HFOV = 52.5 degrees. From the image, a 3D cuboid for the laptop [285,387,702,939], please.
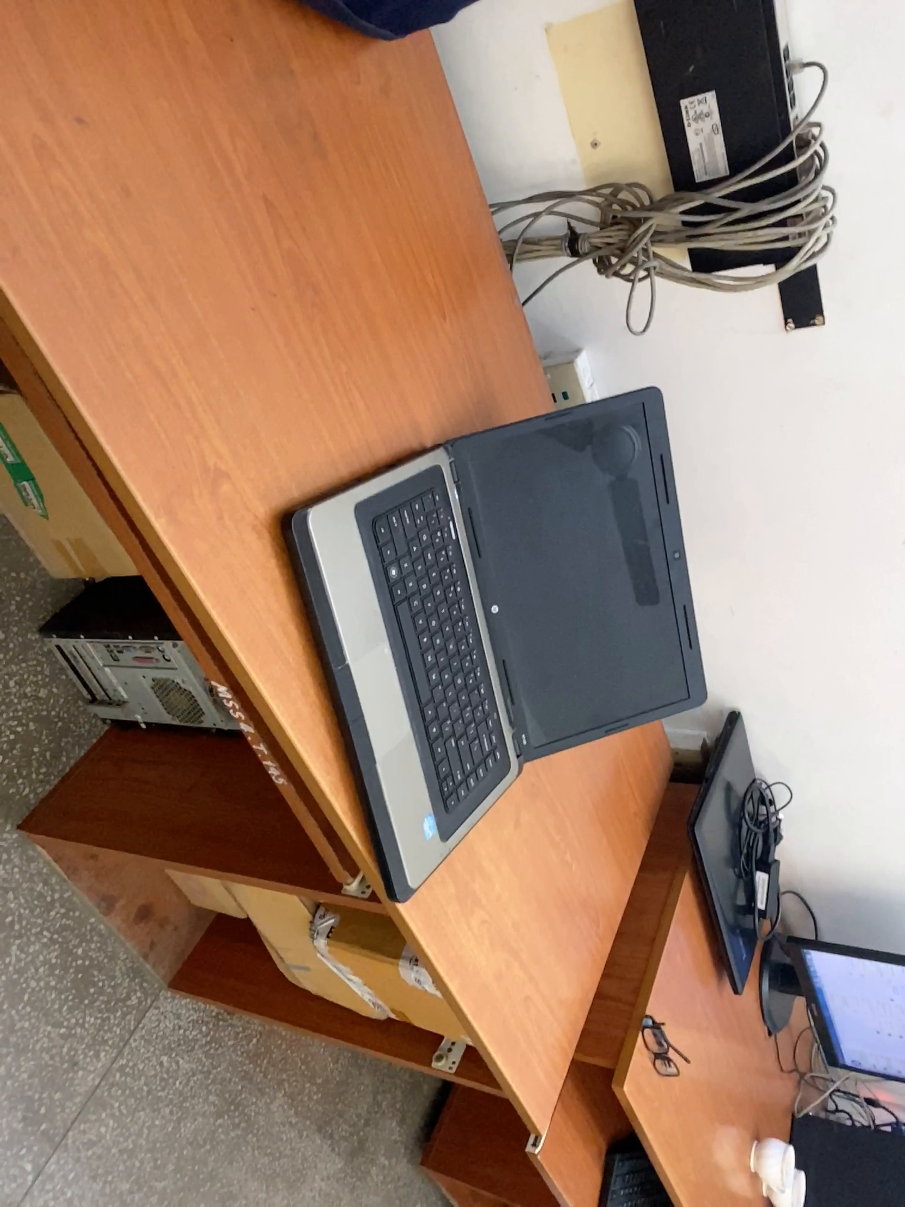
[{"bbox_3d":[0.082,0.027,0.926,0.428,0.158,0.383,-36,119,-50],"label":"laptop"}]
